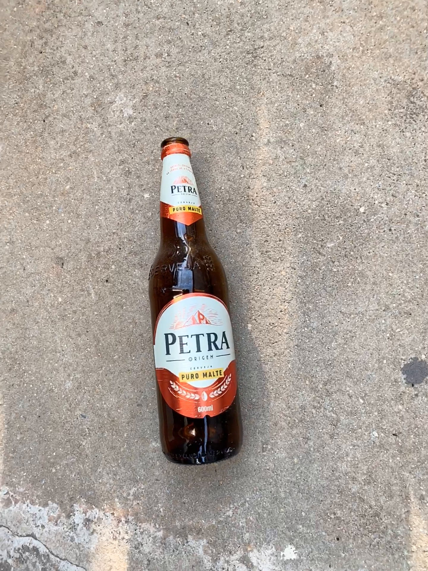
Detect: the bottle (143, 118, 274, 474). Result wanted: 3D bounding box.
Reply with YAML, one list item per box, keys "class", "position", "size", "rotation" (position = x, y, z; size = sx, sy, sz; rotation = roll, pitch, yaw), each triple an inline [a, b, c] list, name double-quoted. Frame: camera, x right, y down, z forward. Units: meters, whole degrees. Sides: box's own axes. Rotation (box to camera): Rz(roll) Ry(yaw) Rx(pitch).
- class: "bottle"
  position: [-0.012, 0.004, 0.371]
  size: [0.080, 0.070, 0.270]
  rotation: [-1, 79, -14]
